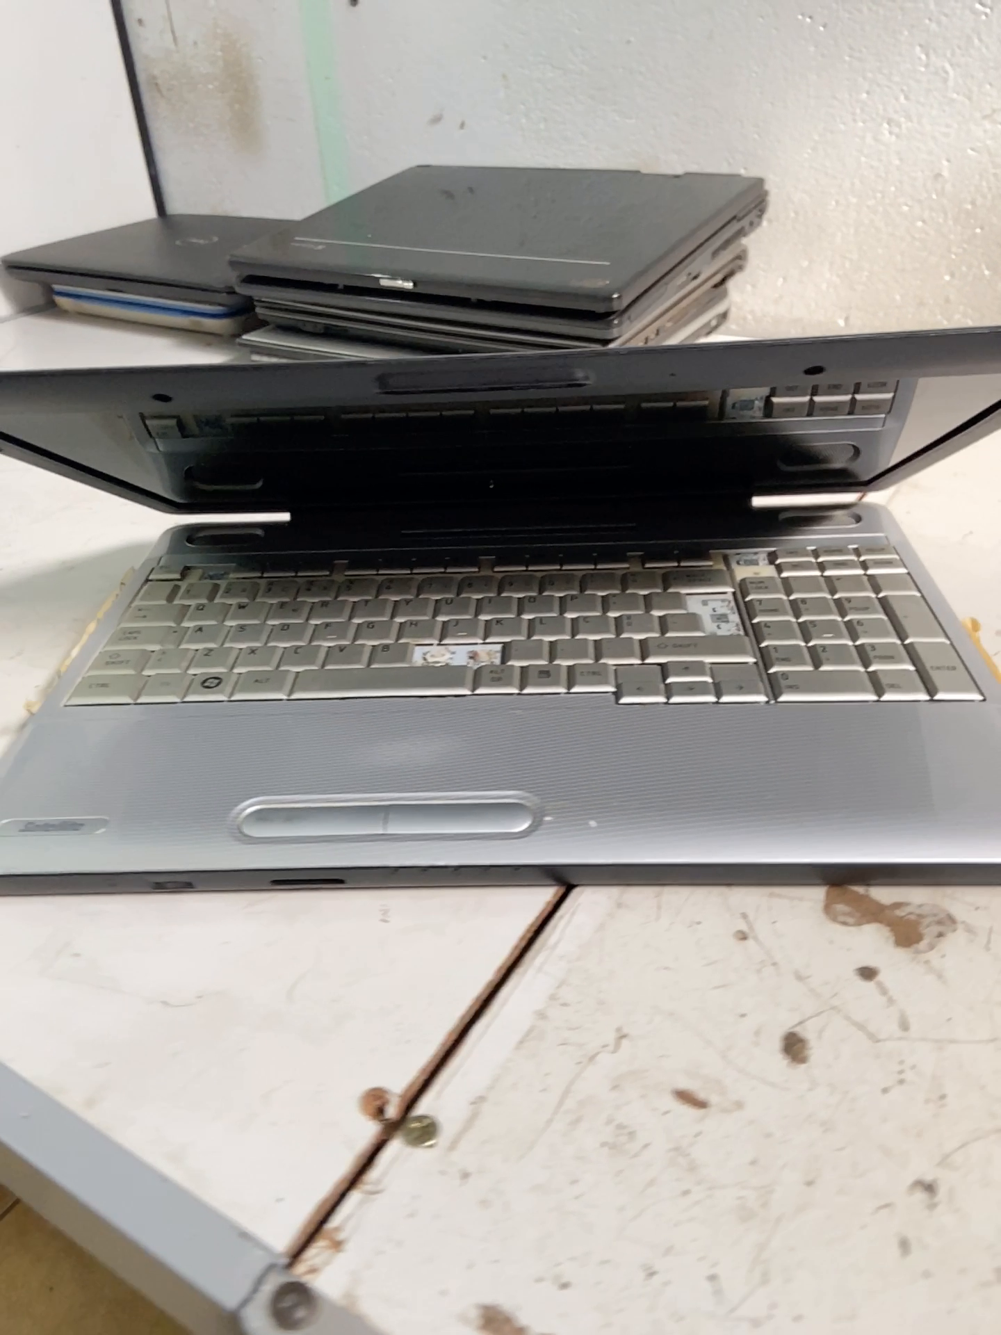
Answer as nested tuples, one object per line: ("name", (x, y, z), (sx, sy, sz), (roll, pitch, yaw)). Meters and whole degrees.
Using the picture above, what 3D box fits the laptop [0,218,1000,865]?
("laptop", (-0.002, -0.069, 0.410), (0.371, 0.143, 0.257), (-1, 33, 3))
